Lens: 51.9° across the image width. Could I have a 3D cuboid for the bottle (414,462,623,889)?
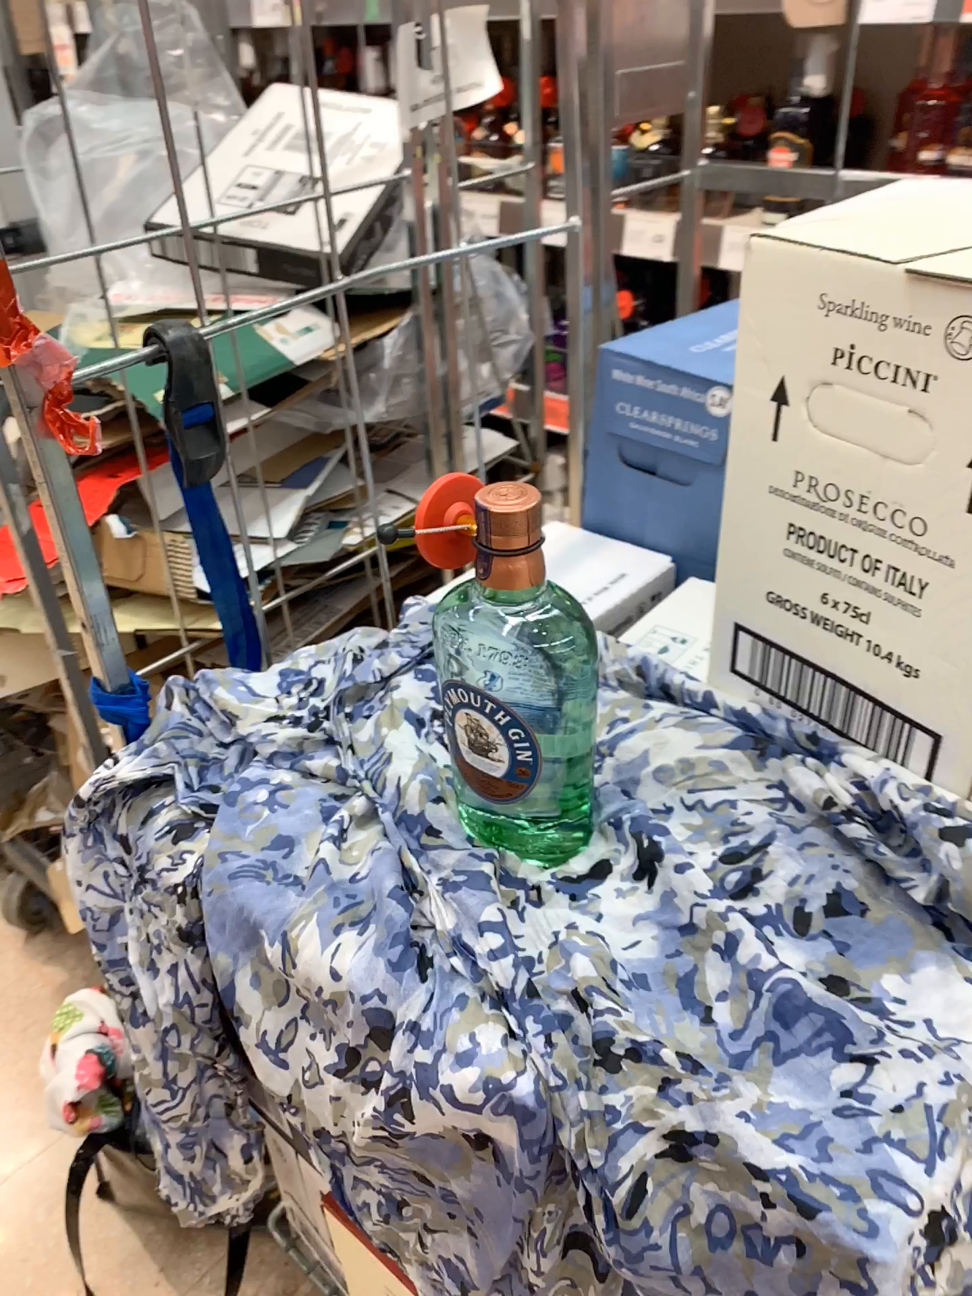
[{"bbox_3d":[0.020,0.019,0.581,0.095,0.228,0.058,24,41,36],"label":"bottle"}]
